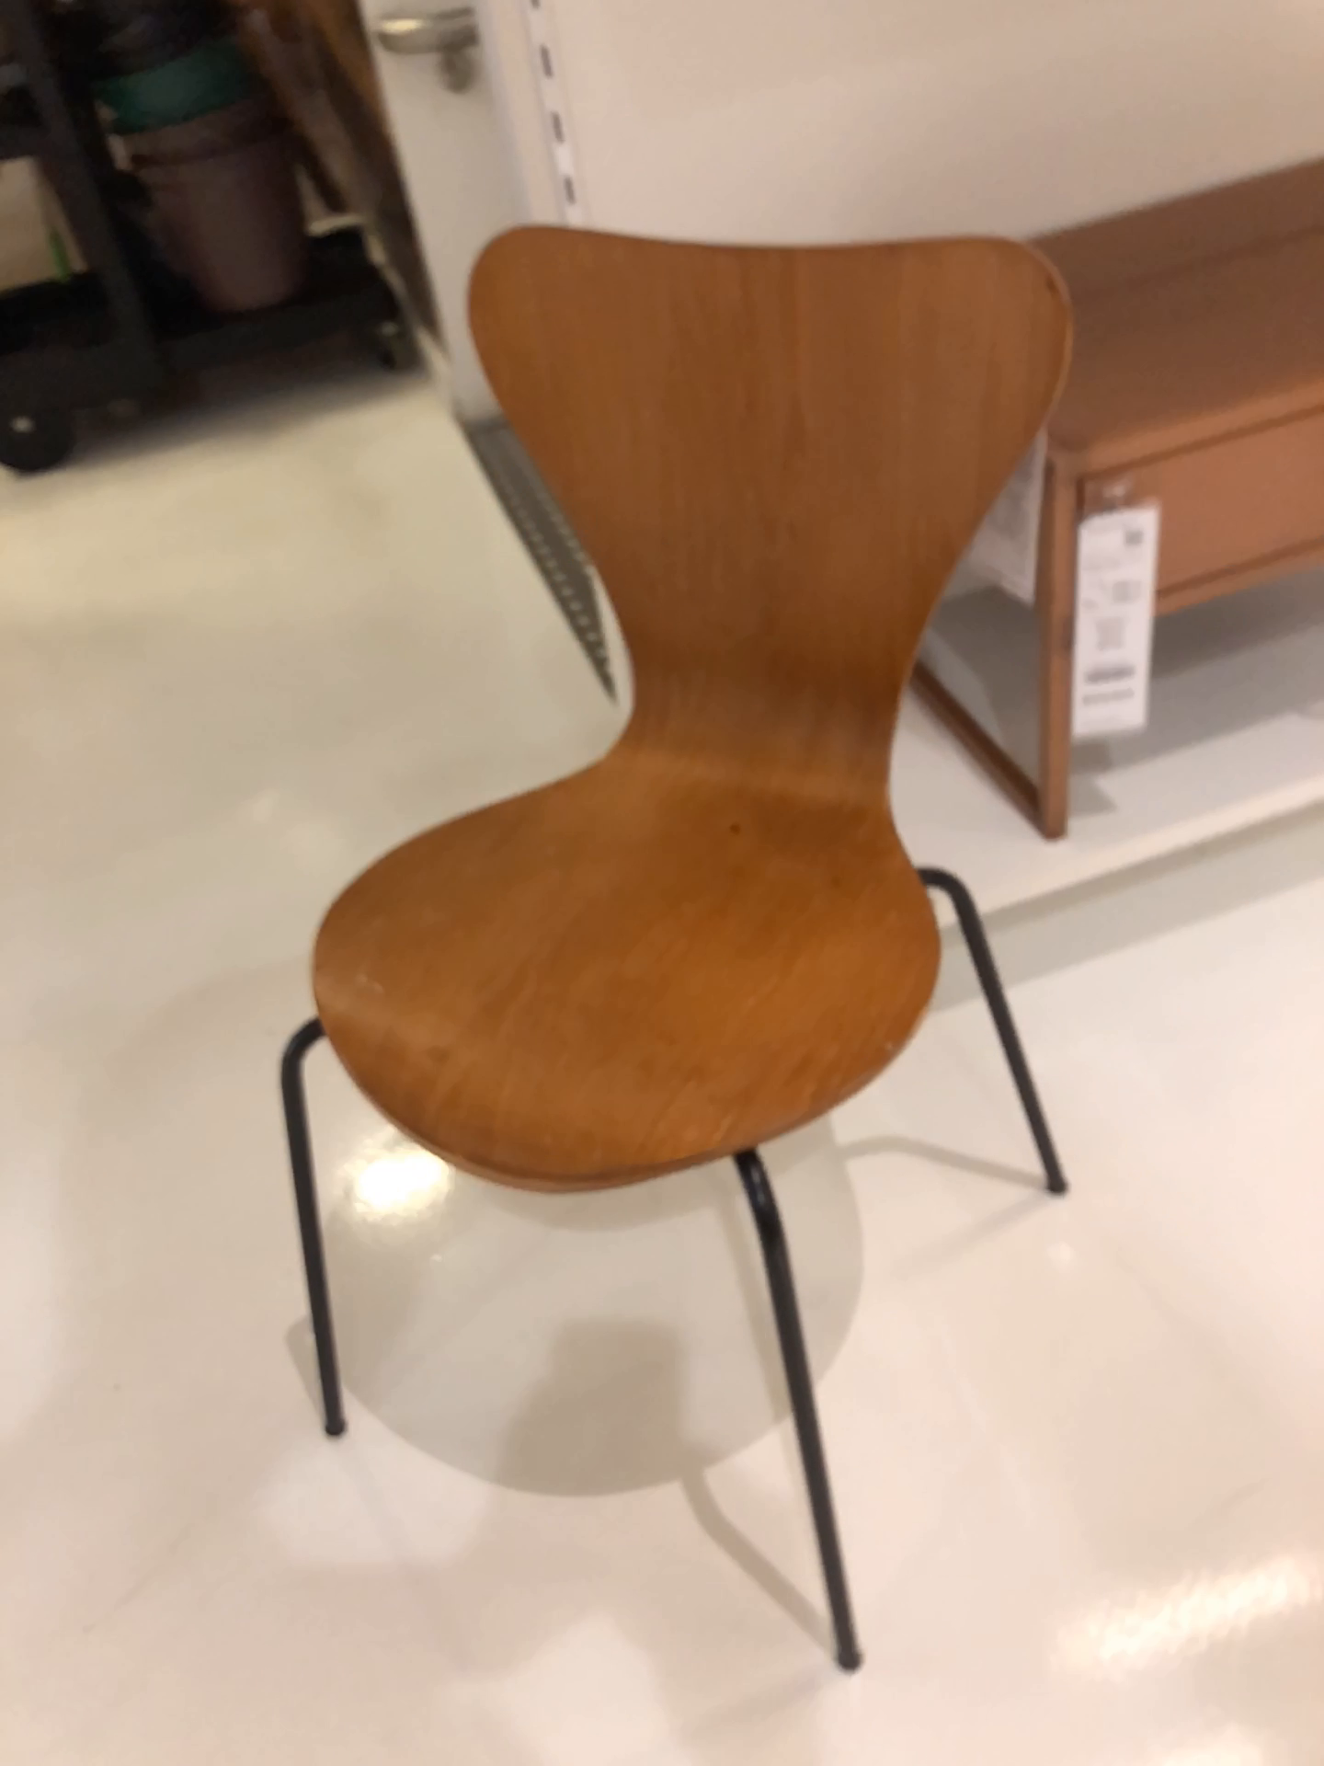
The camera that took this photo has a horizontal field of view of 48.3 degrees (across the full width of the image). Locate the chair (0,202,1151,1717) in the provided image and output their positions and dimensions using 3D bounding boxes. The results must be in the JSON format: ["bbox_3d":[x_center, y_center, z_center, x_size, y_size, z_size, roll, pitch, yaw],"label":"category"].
[{"bbox_3d":[-0.022,0.032,1.047,0.541,0.794,0.573,12,45,26],"label":"chair"}]
